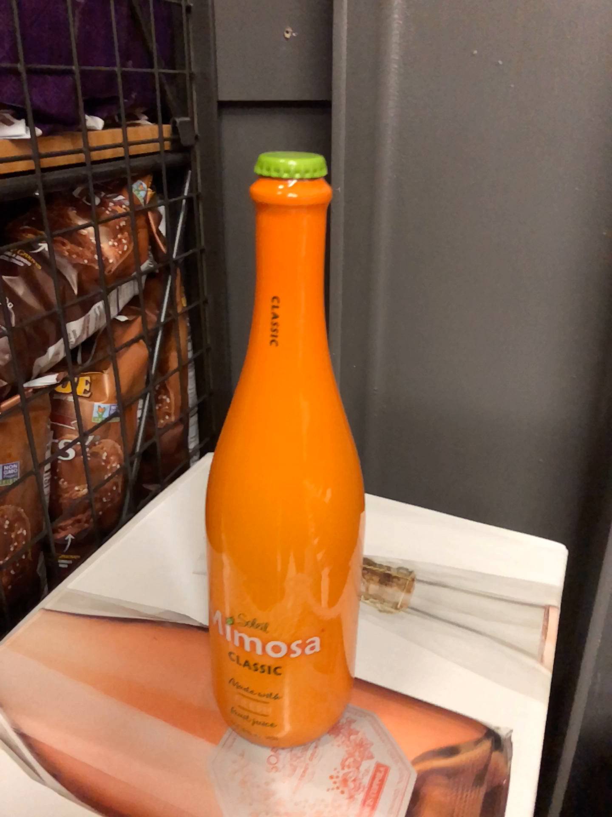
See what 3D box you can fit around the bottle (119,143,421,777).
[{"bbox_3d":[-0.008,0.027,0.321,0.090,0.279,0.090,0,24,0],"label":"bottle"}]
